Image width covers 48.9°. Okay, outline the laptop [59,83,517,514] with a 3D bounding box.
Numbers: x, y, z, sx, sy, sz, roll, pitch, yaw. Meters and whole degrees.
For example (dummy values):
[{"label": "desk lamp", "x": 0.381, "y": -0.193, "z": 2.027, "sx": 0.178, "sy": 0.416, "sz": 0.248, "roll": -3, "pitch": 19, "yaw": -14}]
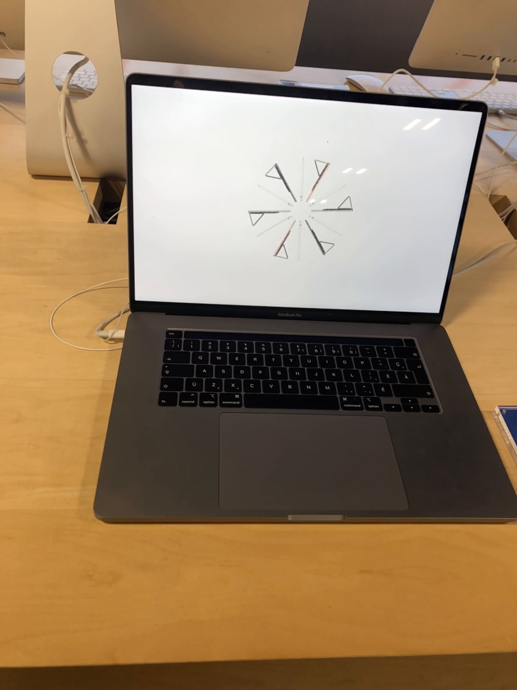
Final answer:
[{"label": "laptop", "x": 0.050, "y": -0.049, "z": 0.515, "sx": 0.352, "sy": 0.230, "sz": 0.316, "roll": 2, "pitch": 43, "yaw": -6}]
